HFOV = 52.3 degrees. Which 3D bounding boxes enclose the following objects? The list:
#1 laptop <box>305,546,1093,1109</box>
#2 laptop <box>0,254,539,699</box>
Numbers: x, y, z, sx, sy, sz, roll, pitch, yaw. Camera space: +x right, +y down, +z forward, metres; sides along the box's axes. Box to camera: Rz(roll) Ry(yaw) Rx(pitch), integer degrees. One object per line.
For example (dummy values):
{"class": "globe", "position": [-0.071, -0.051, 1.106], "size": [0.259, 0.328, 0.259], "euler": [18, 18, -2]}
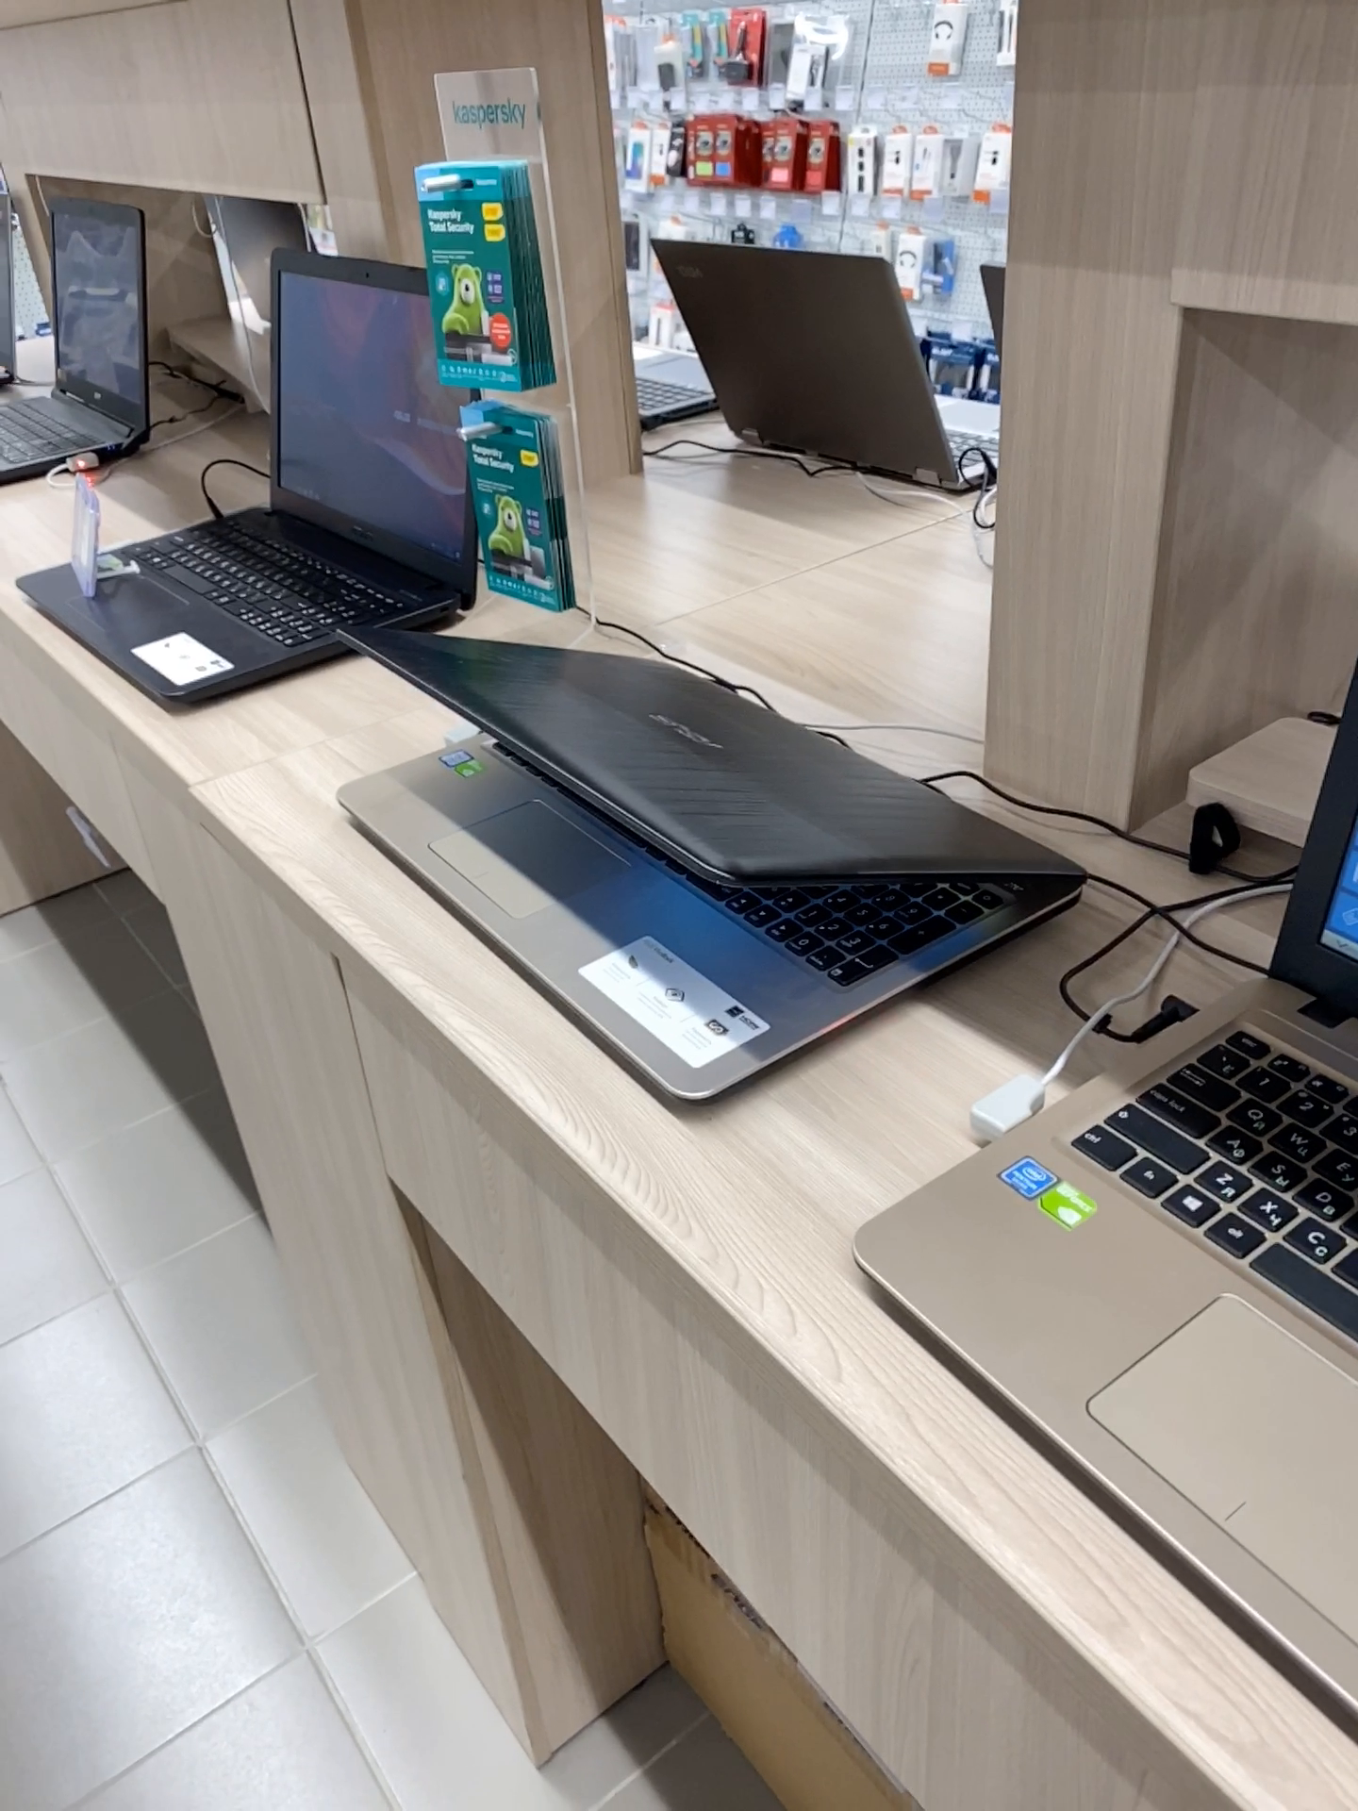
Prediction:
{"class": "laptop", "position": [-0.010, -0.076, 0.757], "size": [0.240, 0.094, 0.384], "euler": [-25, 37, -26]}
{"class": "laptop", "position": [-0.379, -0.388, 1.169], "size": [0.317, 0.235, 0.422], "euler": [-25, 36, -28]}
